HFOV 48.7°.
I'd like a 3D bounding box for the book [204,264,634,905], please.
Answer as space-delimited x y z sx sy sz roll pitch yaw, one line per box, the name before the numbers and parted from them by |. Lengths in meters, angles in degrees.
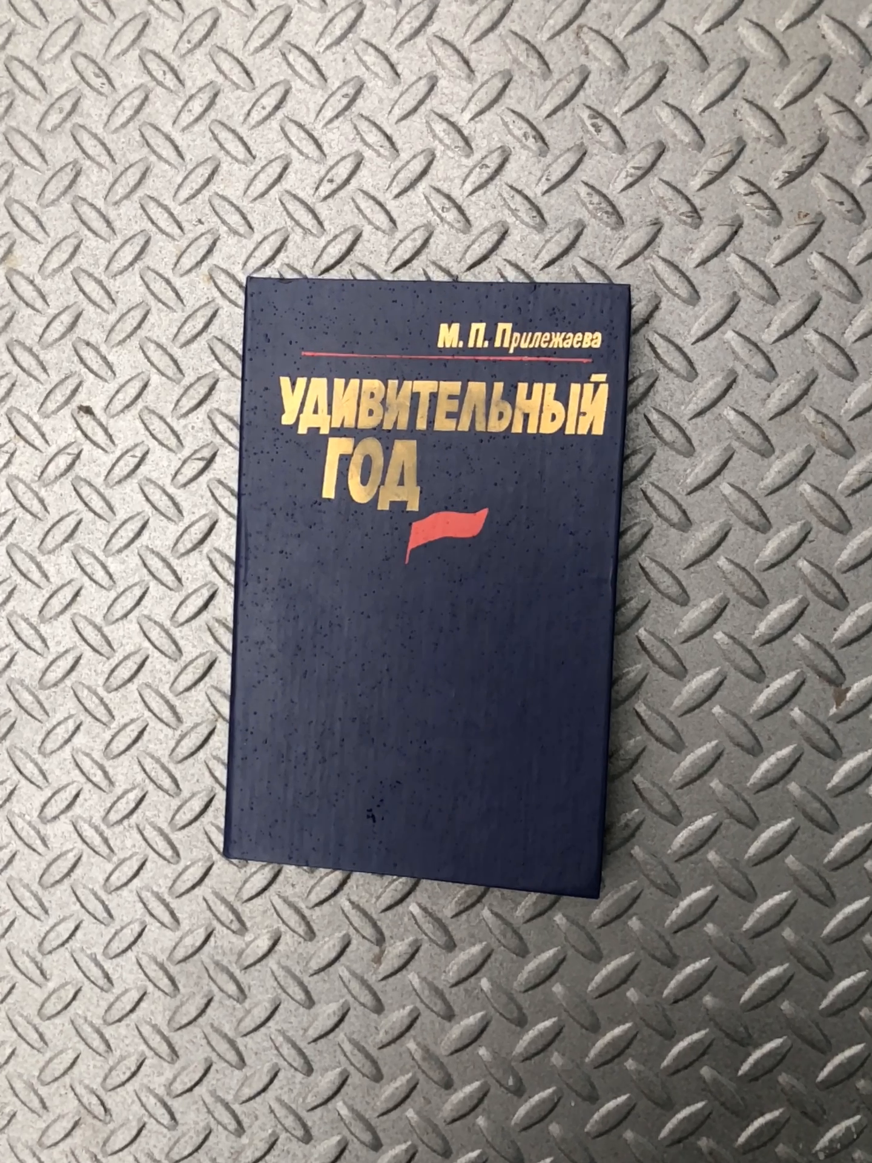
book | -0.006 -0.001 0.332 0.130 0.040 0.200 4 94 7
